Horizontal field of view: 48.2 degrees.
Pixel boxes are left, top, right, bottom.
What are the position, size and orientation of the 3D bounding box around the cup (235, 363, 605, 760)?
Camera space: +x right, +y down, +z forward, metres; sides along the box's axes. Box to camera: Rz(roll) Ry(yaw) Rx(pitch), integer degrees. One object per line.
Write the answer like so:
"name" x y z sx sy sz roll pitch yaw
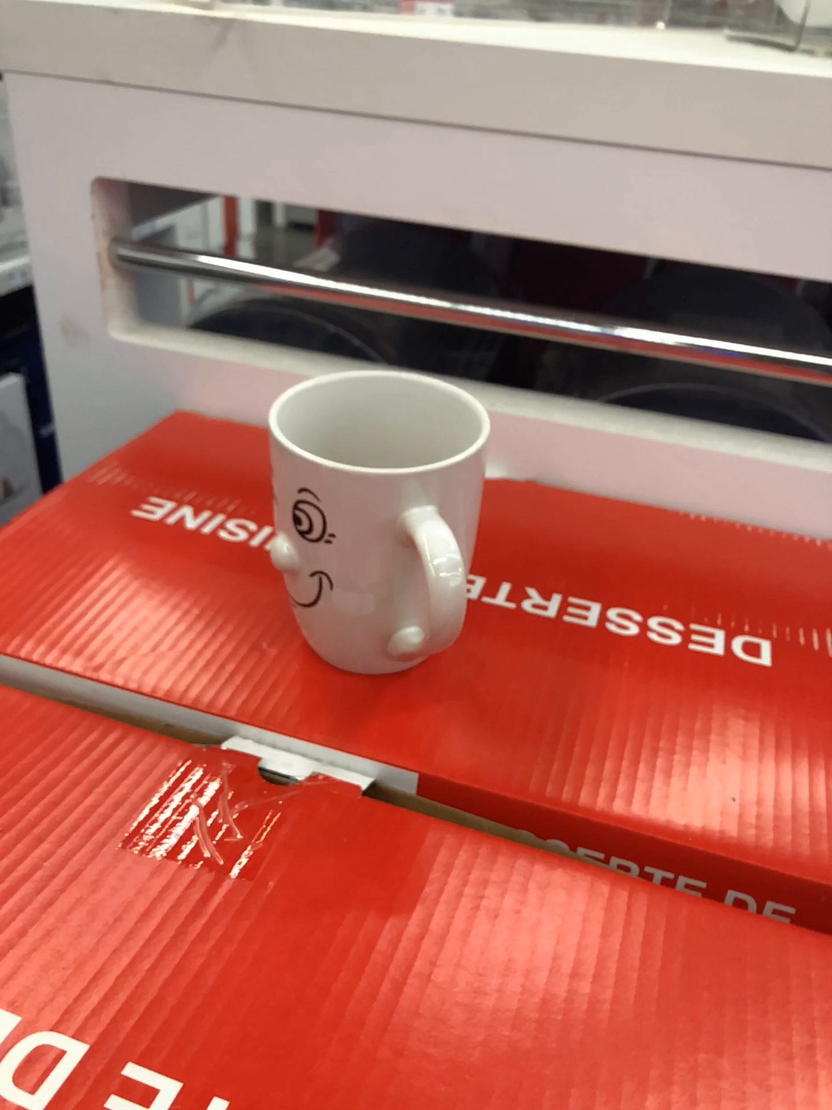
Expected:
"cup" -0.007 -0.006 0.365 0.093 0.092 0.124 -10 34 -24
